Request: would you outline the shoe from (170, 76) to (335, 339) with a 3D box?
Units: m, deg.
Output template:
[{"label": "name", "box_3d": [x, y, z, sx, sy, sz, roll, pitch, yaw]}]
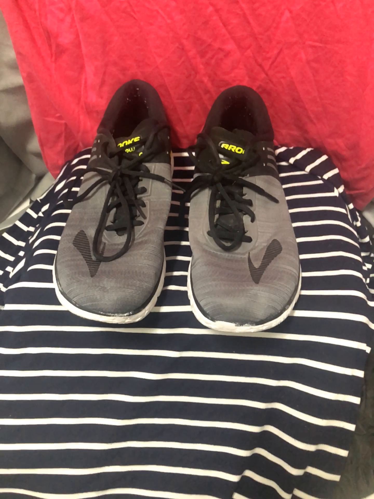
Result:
[{"label": "shoe", "box_3d": [0.044, -0.062, 0.385, 0.104, 0.079, 0.283, 0, 46, 1]}]

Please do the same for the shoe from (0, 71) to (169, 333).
[{"label": "shoe", "box_3d": [-0.074, -0.068, 0.393, 0.102, 0.079, 0.293, 0, 46, 0]}]
